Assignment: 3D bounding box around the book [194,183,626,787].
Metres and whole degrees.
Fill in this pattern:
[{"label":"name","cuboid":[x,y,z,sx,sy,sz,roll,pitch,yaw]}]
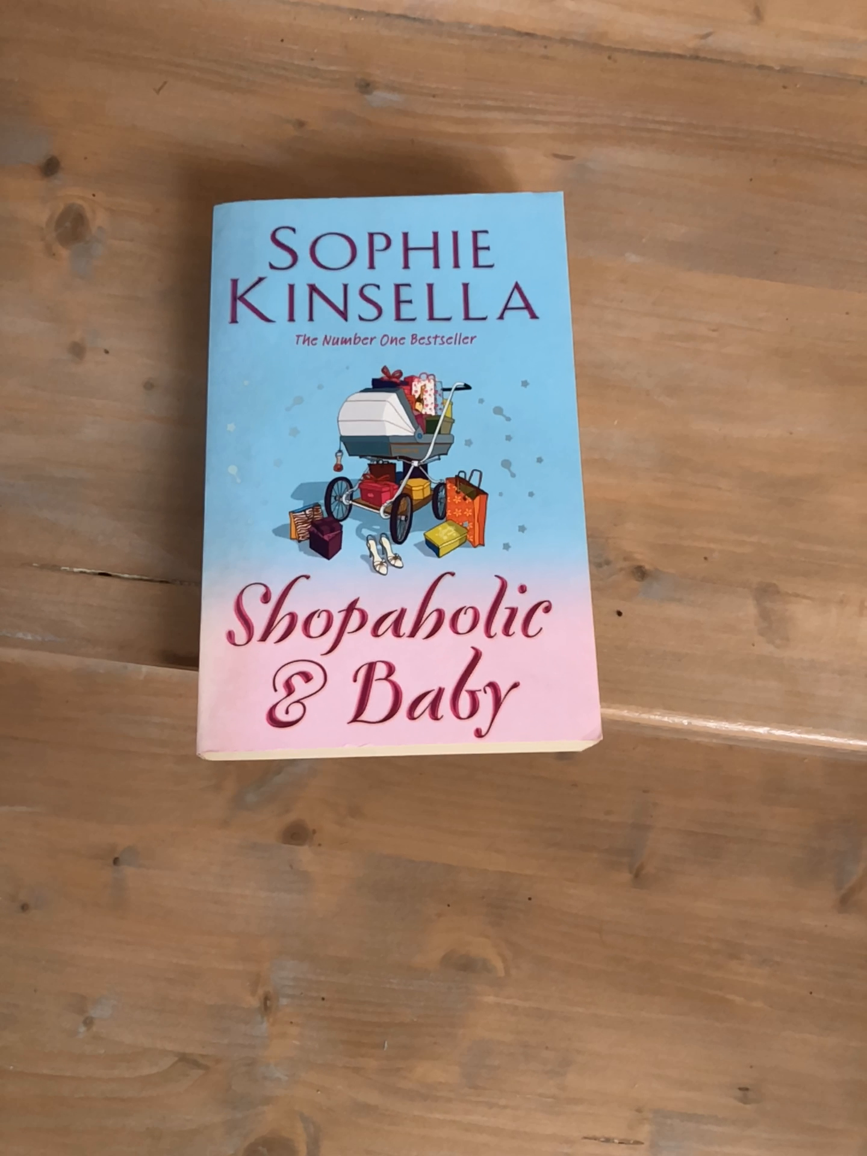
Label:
[{"label":"book","cuboid":[-0.011,-0.038,0.335,0.131,0.031,0.211,-2,73,-2]}]
